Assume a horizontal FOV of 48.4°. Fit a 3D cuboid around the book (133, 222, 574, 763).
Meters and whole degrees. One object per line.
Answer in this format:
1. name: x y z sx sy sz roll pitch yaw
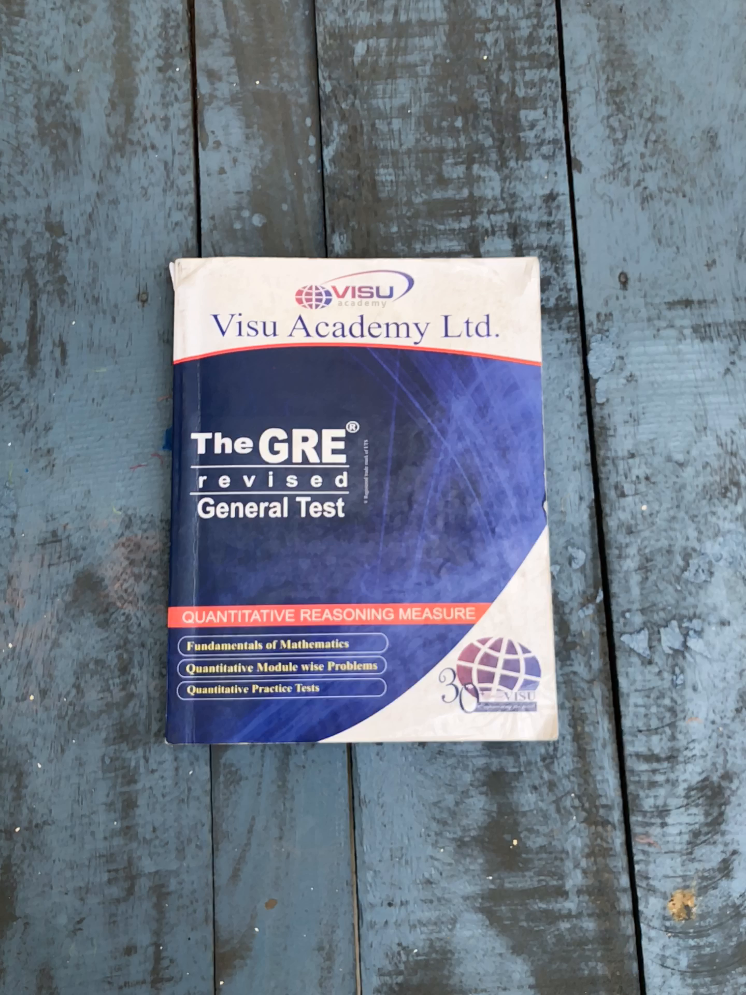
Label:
1. book: -0.011 -0.006 0.469 0.220 0.060 0.290 0 80 0
